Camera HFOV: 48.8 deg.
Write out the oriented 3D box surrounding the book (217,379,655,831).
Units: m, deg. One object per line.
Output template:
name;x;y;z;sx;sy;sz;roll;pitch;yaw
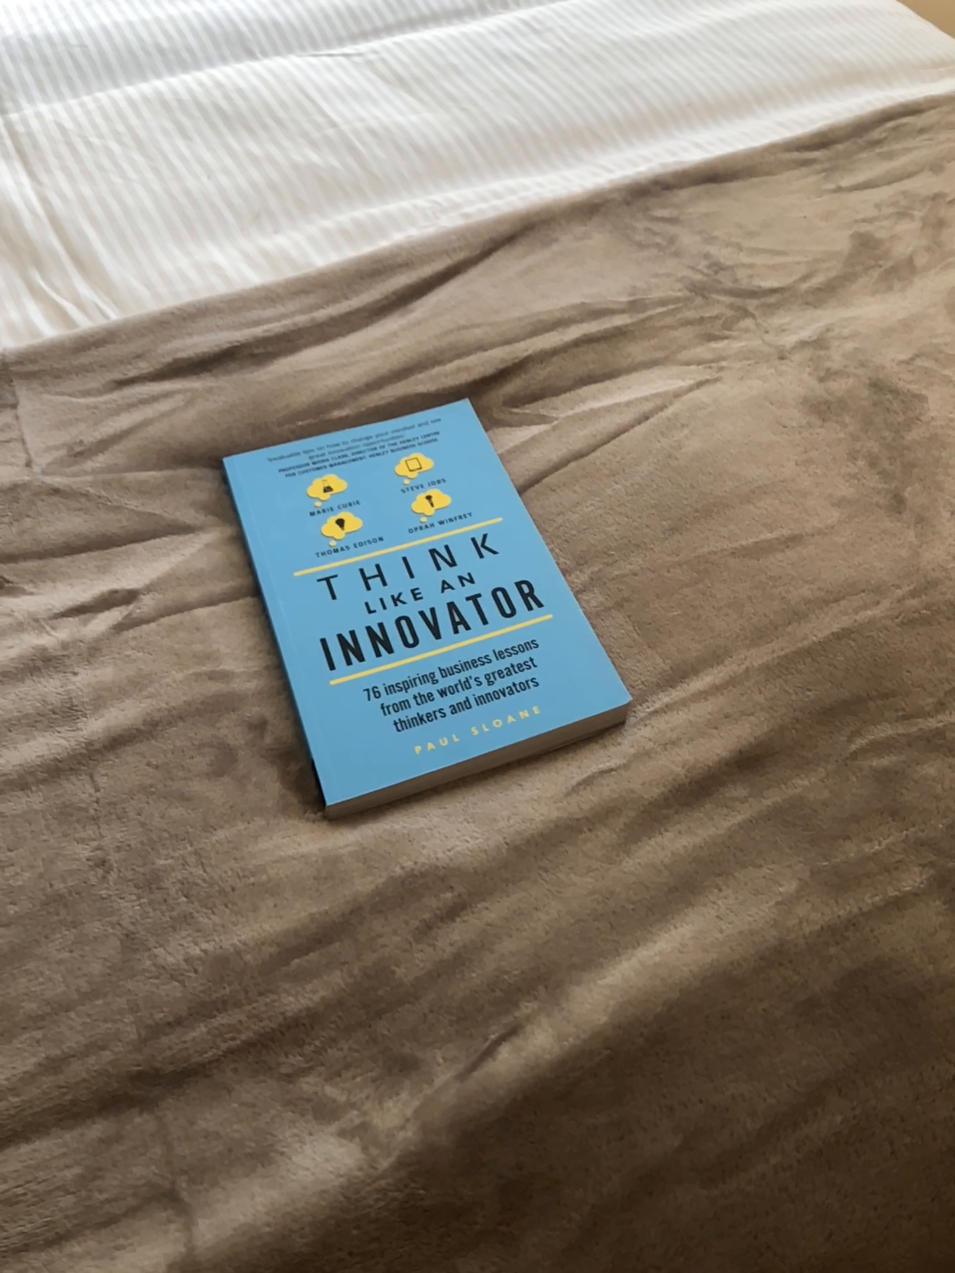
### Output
book;-0.030;-0.030;0.493;0.140;0.020;0.221;-18;53;-10
